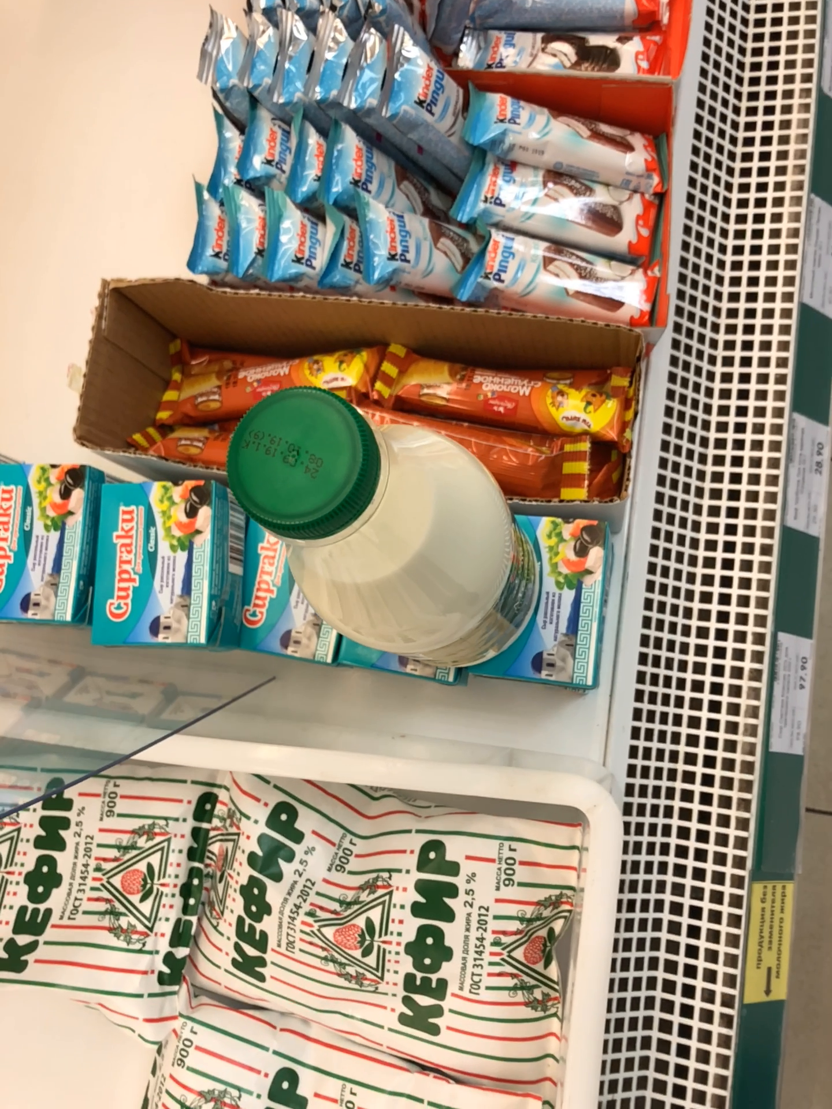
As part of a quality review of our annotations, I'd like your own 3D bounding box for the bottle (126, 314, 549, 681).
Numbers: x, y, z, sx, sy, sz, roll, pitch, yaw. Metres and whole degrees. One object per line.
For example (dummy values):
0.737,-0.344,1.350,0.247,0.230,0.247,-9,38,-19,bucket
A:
-0.005,-0.002,0.358,0.085,0.239,0.081,-2,80,12,bottle
